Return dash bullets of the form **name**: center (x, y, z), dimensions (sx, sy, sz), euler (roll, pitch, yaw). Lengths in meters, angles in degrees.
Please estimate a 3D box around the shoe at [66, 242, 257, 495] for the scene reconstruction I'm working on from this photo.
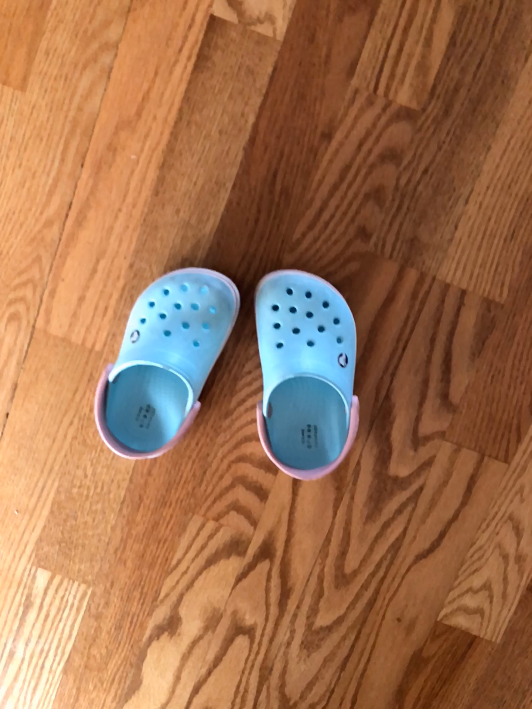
- **shoe**: center (-0.077, 0.009, 0.451), dimensions (0.083, 0.057, 0.165), euler (22, 99, -1)

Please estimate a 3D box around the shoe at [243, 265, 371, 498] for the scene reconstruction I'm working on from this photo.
- **shoe**: center (0.031, 0.019, 0.443), dimensions (0.083, 0.048, 0.165), euler (-3, 99, 3)
